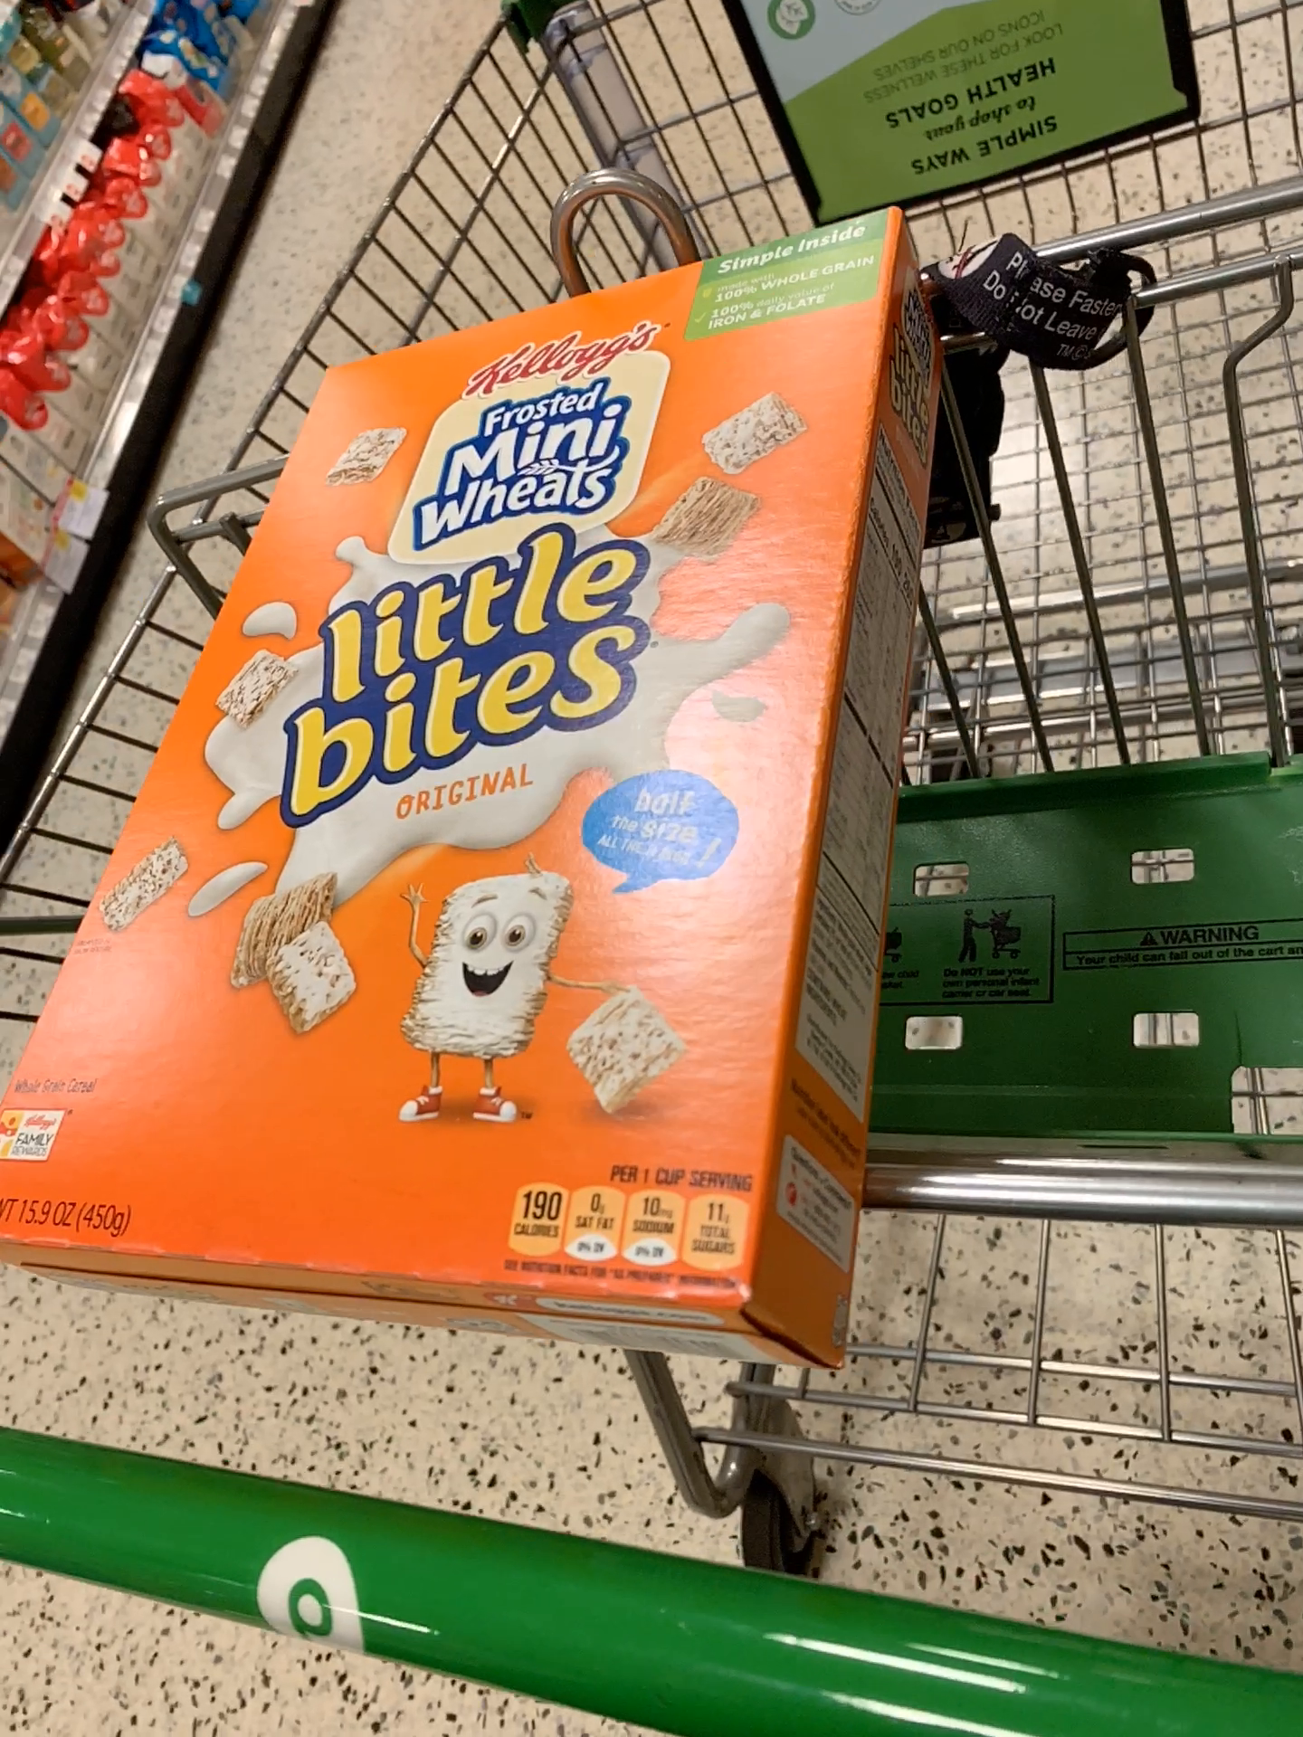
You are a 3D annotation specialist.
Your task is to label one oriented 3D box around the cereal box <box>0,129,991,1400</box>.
[{"bbox_3d":[-0.031,-0.045,0.359,0.210,0.059,0.322,-4,56,26],"label":"cereal box"}]
